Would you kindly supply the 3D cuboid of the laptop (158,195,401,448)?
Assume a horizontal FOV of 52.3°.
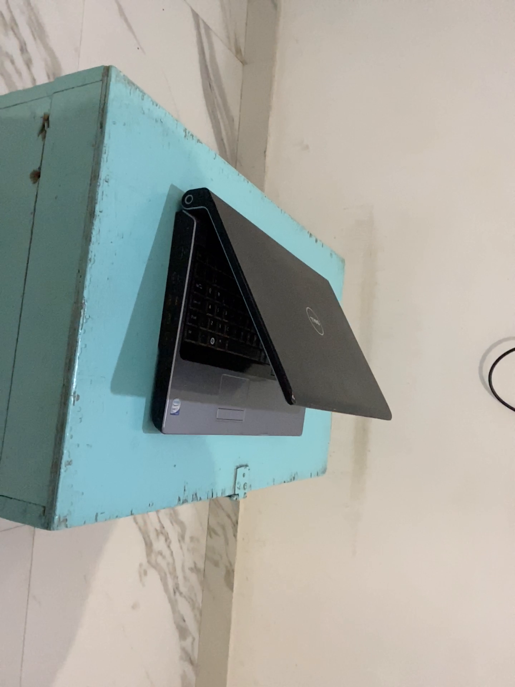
[{"bbox_3d":[0.065,0.000,0.735,0.390,0.152,0.261,17,79,-60],"label":"laptop"}]
